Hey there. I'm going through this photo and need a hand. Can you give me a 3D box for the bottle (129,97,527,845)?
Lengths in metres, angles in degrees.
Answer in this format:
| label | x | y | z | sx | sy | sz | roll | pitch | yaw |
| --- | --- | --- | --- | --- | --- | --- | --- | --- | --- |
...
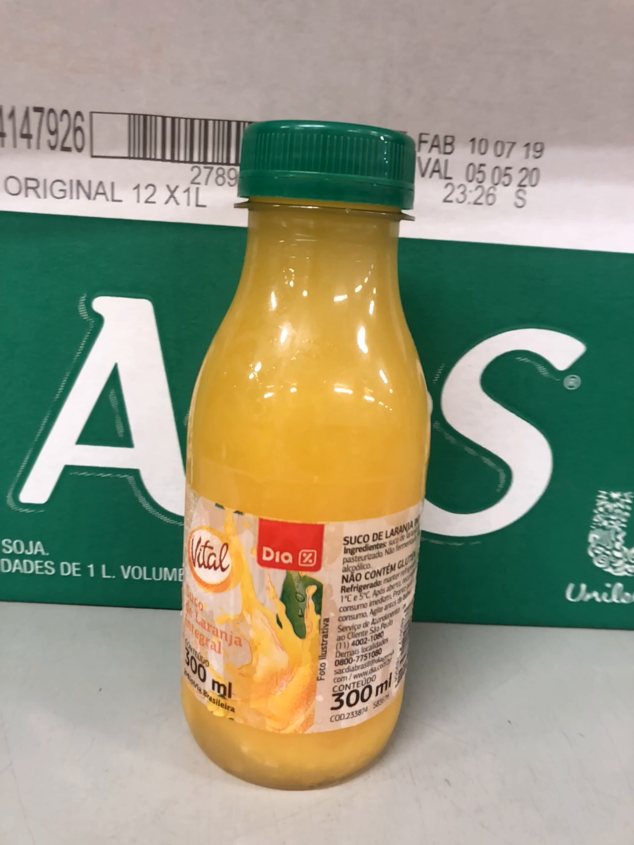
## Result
| label | x | y | z | sx | sy | sz | roll | pitch | yaw |
| --- | --- | --- | --- | --- | --- | --- | --- | --- | --- |
| bottle | 0.000 | 0.008 | 0.185 | 0.070 | 0.159 | 0.060 | 14 | 19 | 34 |
